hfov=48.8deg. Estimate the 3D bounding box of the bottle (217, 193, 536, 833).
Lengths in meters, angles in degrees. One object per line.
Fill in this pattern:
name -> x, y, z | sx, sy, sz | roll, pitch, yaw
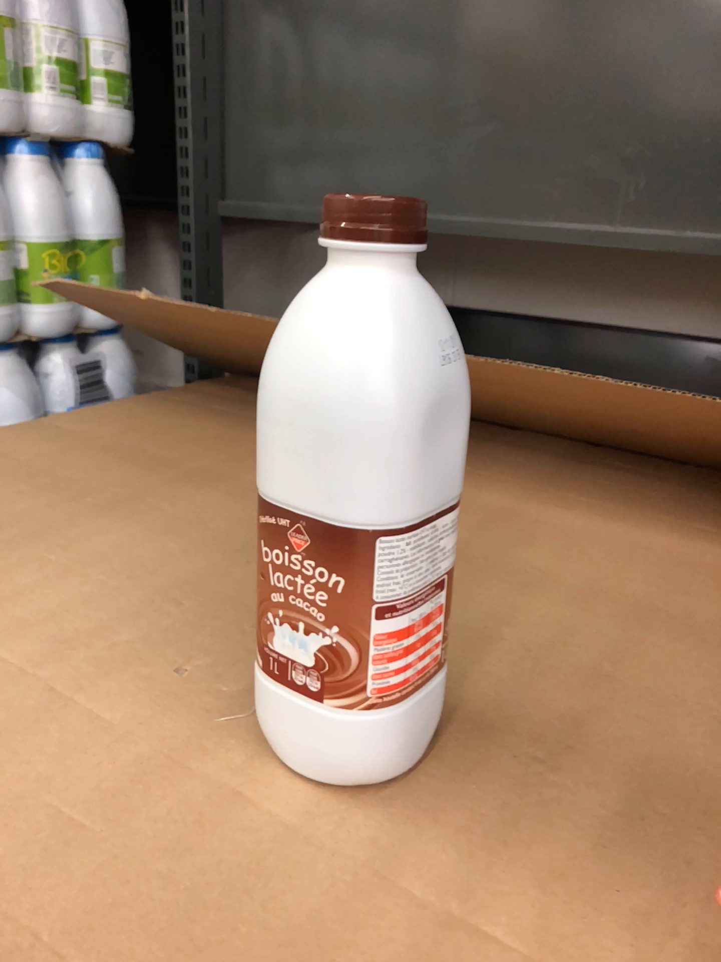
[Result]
bottle -> 0.003, 0.008, 0.335 | 0.090, 0.239, 0.080 | 14, 23, 30
